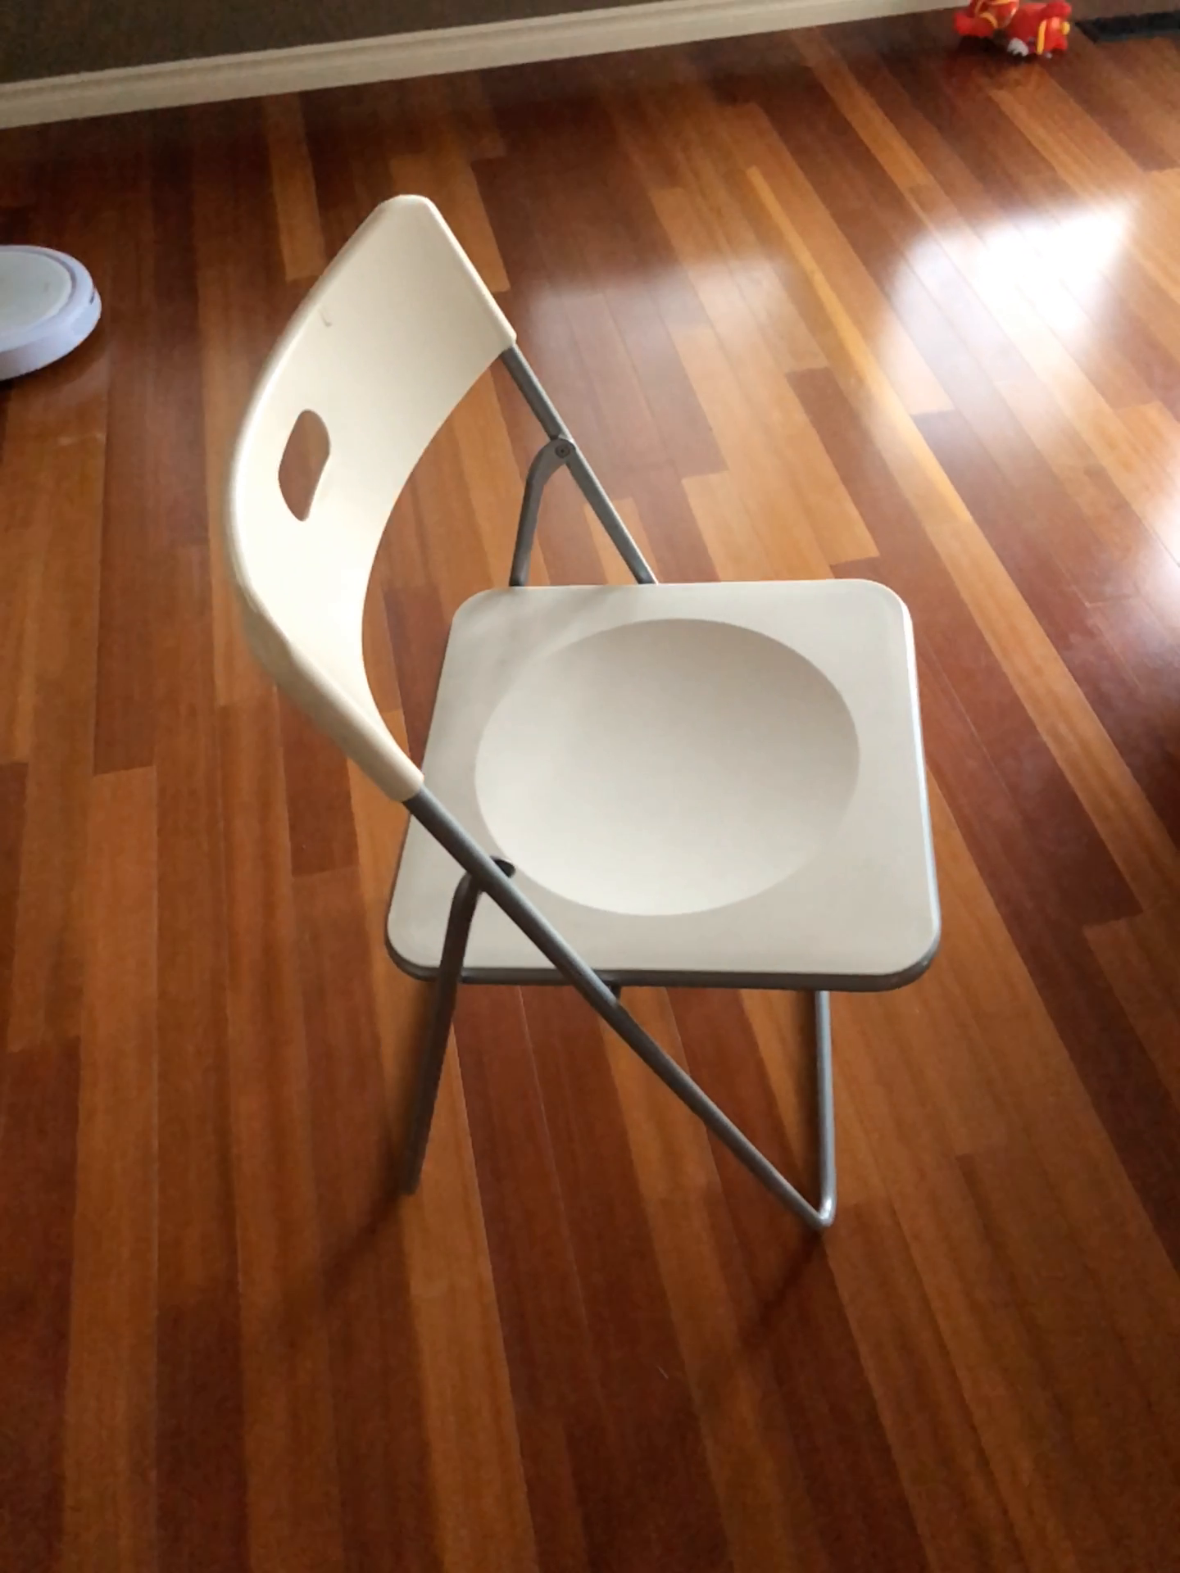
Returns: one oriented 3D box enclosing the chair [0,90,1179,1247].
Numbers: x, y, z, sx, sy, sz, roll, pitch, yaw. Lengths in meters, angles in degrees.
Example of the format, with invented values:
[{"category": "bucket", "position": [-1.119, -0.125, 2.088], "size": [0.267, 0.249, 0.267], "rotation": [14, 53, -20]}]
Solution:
[{"category": "chair", "position": [0.062, -0.052, 0.847], "size": [0.540, 0.577, 0.463], "rotation": [3, 51, 5]}]
